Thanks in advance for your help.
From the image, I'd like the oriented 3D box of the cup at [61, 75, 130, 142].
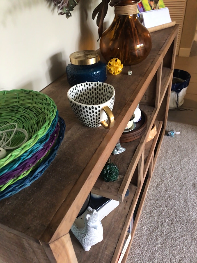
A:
[{"bbox_3d":[-0.009,-0.059,0.485,0.100,0.079,0.131,-20,40,-21],"label":"cup"}]
